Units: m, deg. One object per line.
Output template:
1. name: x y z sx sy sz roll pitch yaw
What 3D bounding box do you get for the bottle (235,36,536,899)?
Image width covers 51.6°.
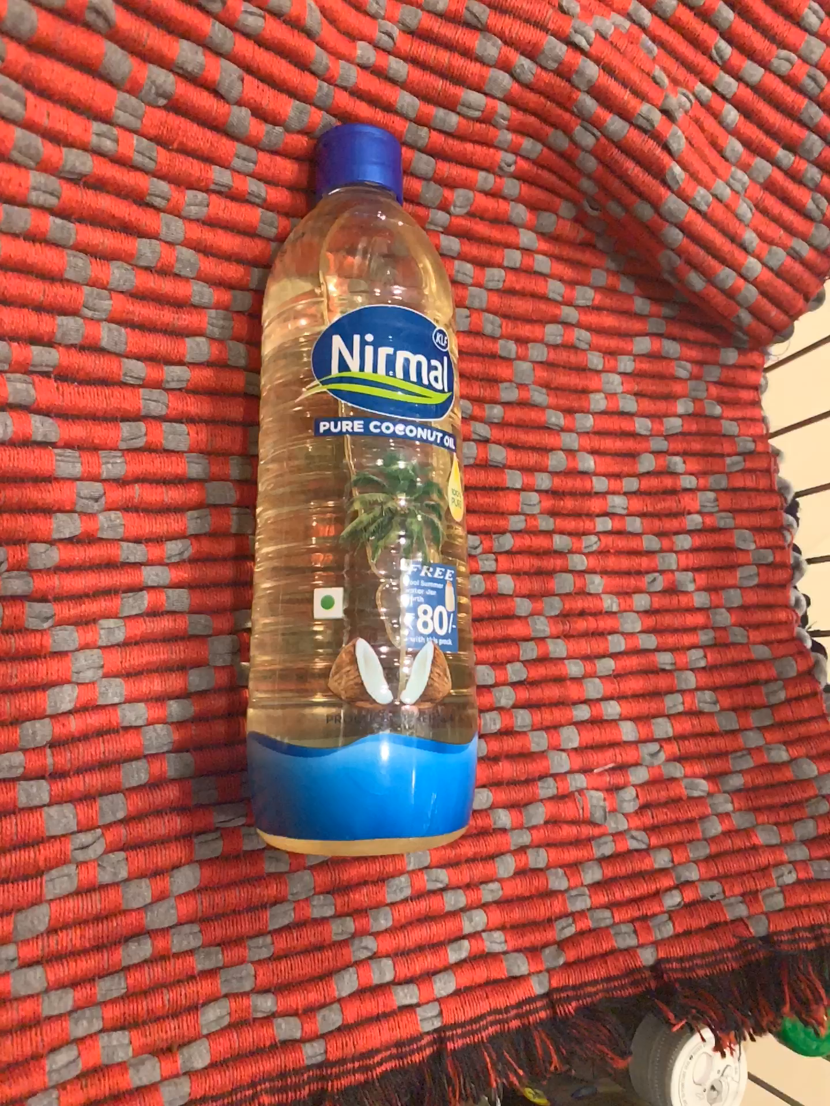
1. bottle: -0.007 -0.021 0.230 0.060 0.050 0.200 5 81 -26
